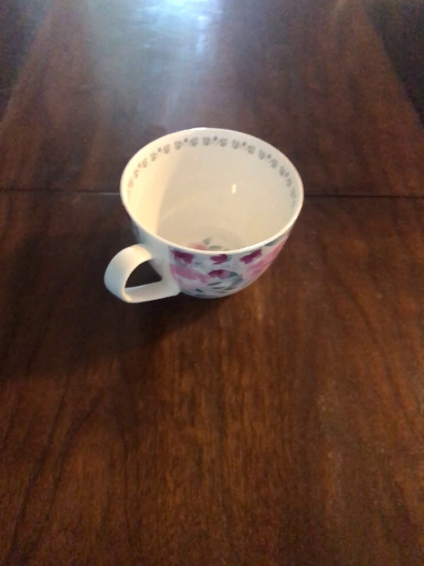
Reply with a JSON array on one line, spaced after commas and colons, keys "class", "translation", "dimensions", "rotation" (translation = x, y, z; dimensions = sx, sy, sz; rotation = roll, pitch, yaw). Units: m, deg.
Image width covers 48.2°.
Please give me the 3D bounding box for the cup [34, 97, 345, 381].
[{"class": "cup", "translation": [-0.010, -0.041, 0.324], "dimensions": [0.120, 0.070, 0.160], "rotation": [34, 57, 21]}]
